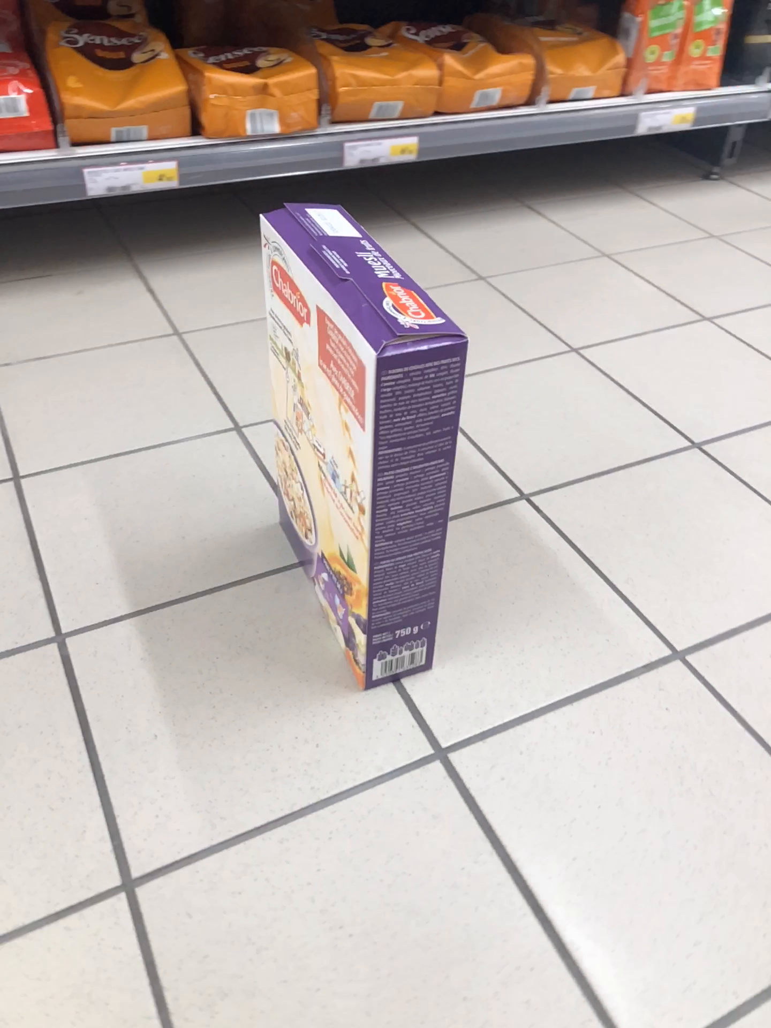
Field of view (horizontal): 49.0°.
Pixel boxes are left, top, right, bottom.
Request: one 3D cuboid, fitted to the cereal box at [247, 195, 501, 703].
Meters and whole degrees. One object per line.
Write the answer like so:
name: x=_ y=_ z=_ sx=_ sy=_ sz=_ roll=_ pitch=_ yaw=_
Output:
cereal box: x=-0.022 y=-0.045 z=0.568 sx=0.070 sy=0.259 sz=0.211 roll=-13 pitch=42 yaw=-20
